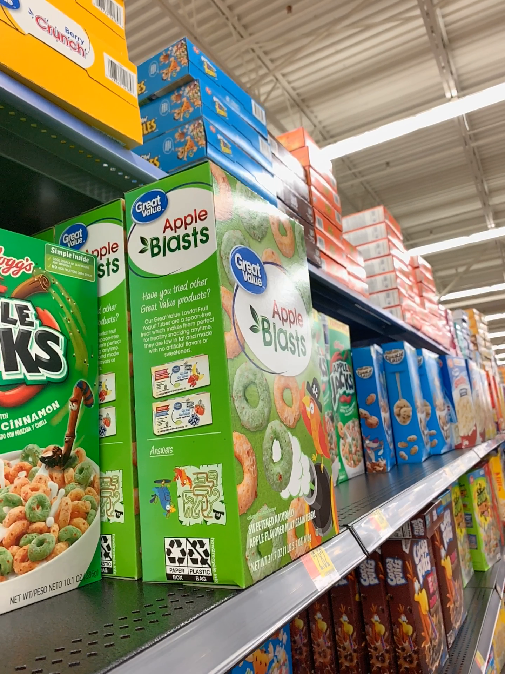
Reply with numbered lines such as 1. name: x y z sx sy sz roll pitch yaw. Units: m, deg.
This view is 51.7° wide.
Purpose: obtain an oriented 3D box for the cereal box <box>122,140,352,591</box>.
1. cereal box: -0.008 0.027 0.487 0.100 0.331 0.200 -11 -13 28
